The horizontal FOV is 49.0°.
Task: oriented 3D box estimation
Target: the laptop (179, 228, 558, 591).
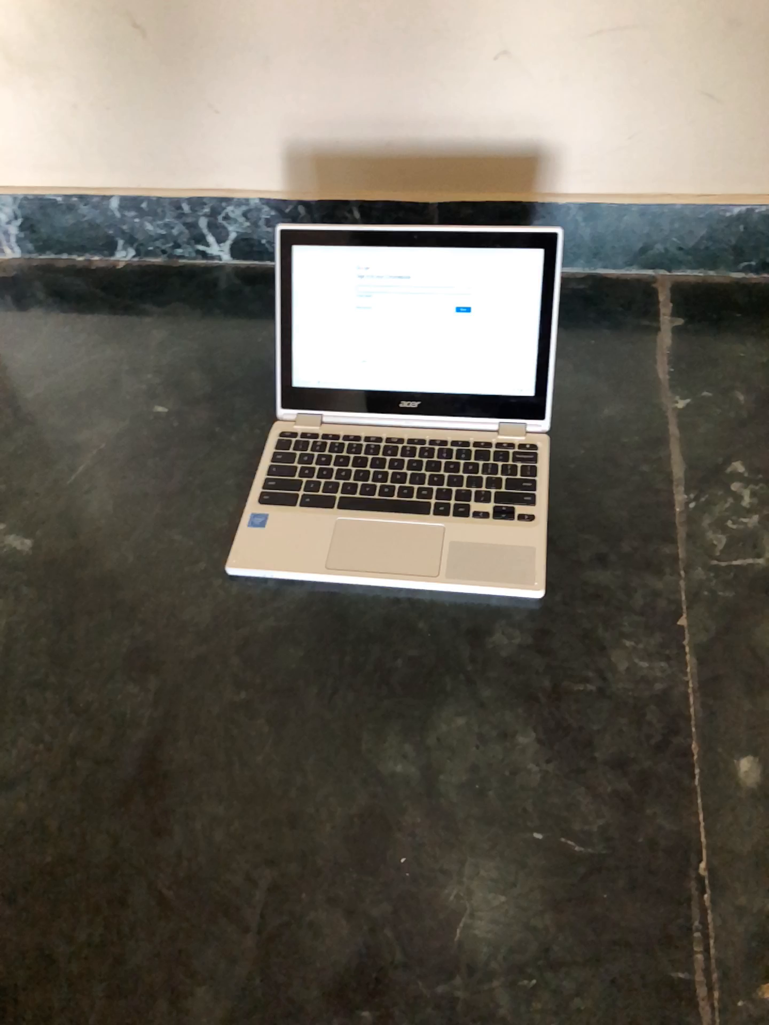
[{"bbox_3d":[0.011,-0.109,0.784,0.280,0.156,0.315,4,49,8],"label":"laptop"}]
